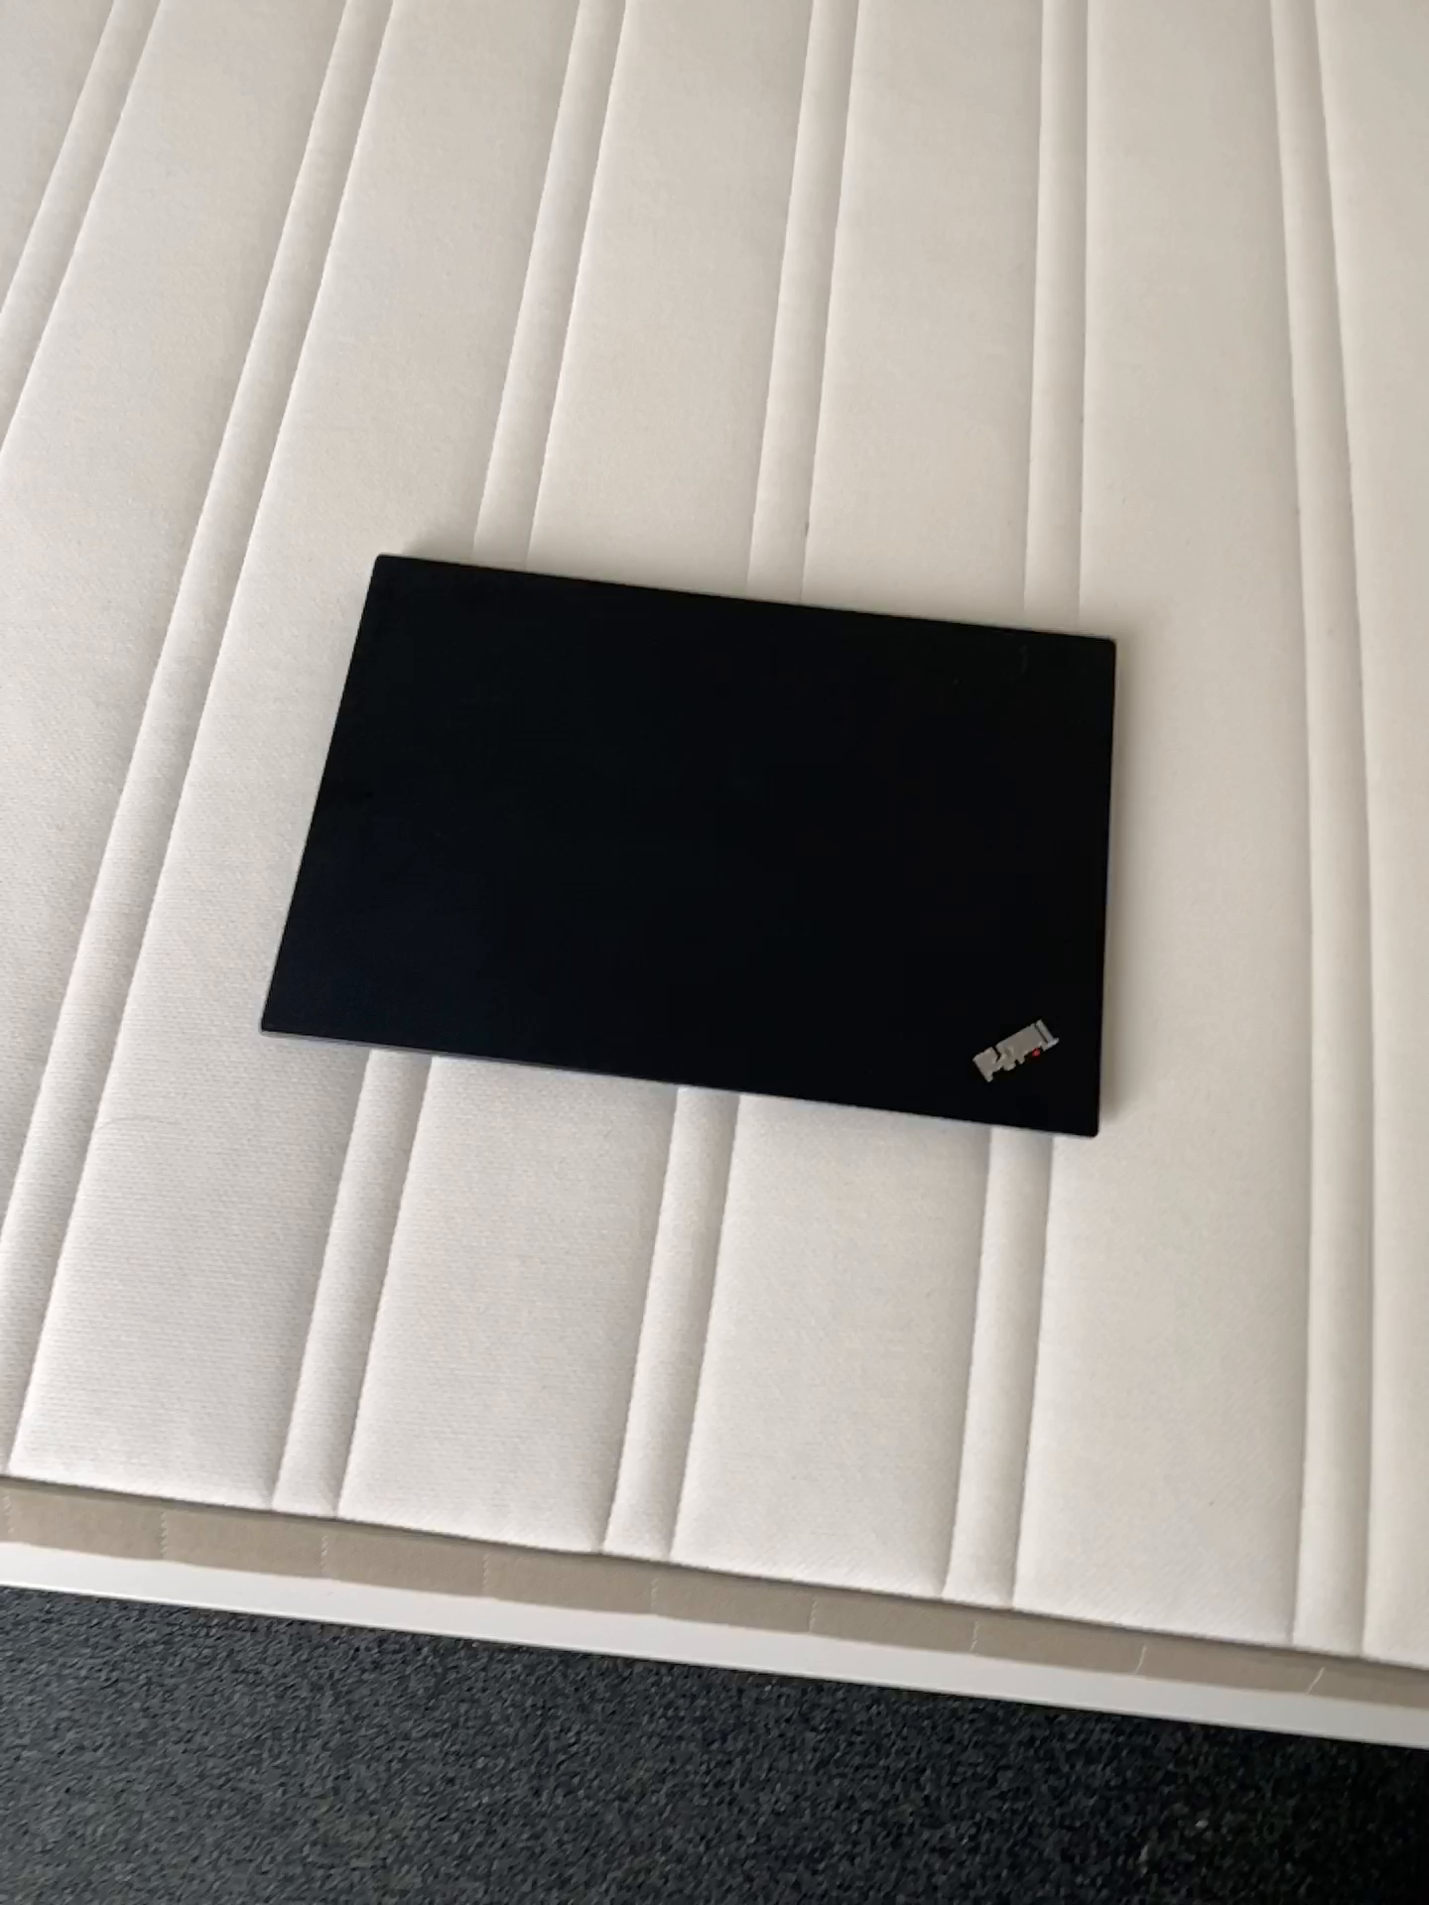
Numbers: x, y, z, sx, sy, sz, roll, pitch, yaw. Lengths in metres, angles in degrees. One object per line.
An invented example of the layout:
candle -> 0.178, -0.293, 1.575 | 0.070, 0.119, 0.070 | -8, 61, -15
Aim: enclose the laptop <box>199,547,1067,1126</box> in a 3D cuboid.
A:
laptop -> -0.021, -0.057, 0.605 | 0.325, 0.012, 0.226 | 7, 67, 2
